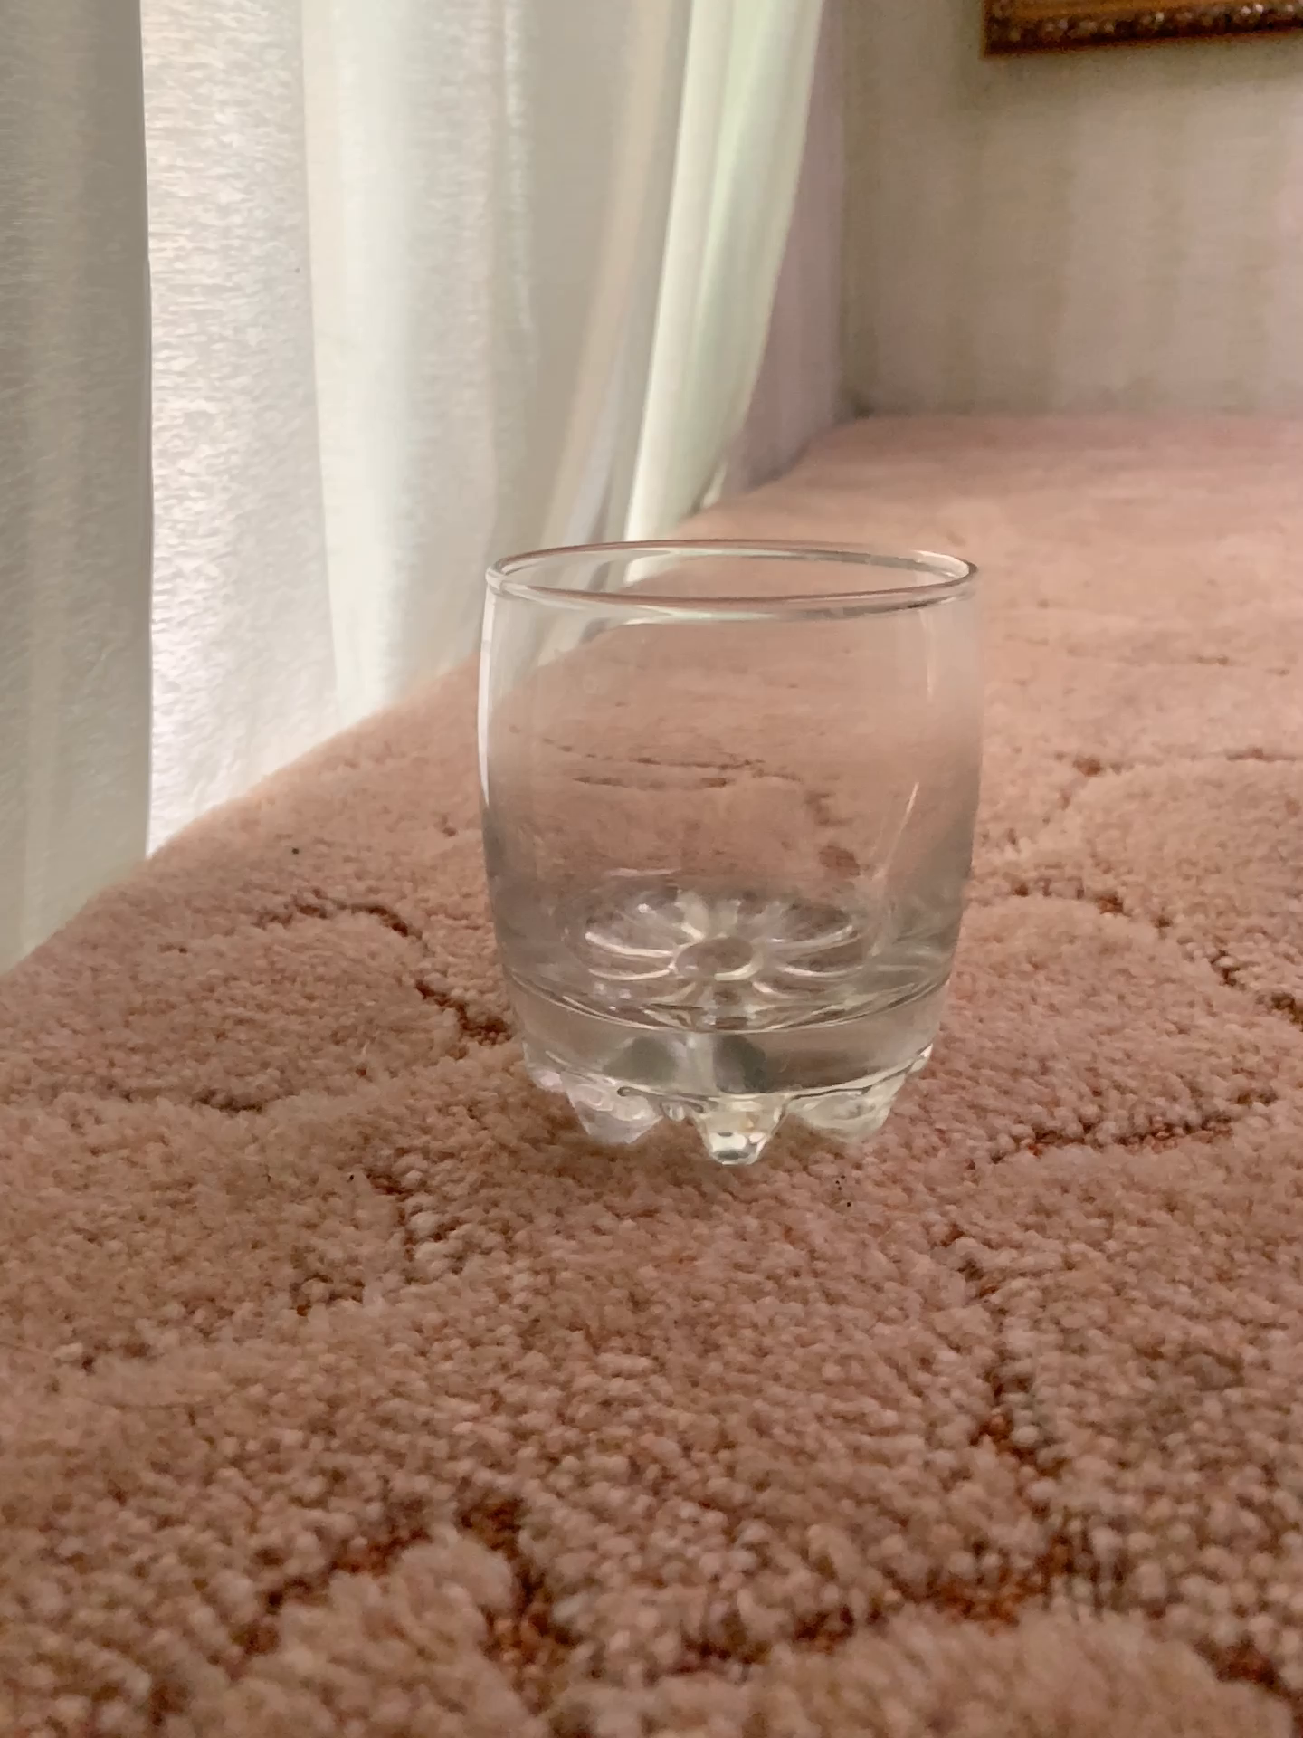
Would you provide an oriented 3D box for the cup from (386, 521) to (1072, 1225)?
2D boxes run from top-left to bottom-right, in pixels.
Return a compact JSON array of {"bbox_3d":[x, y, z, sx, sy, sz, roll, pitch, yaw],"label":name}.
[{"bbox_3d":[0.009,-0.005,0.230,0.090,0.089,0.080,-4,22,-3],"label":"cup"}]
